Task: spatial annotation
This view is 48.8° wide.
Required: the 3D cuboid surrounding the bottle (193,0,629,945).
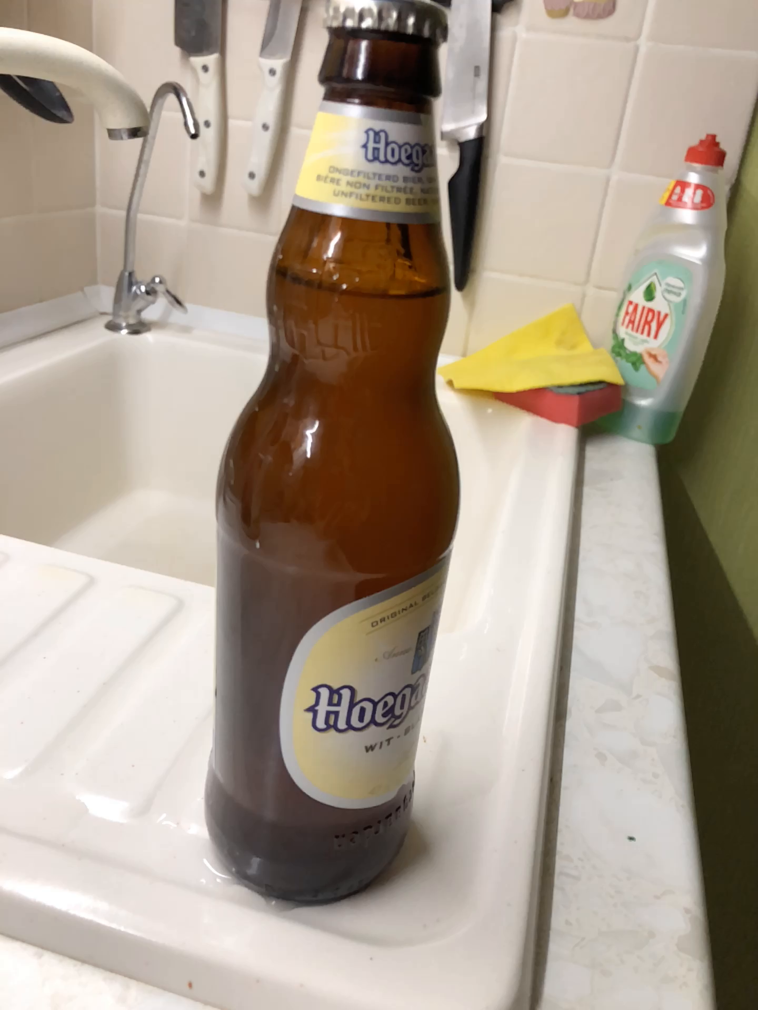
[{"bbox_3d":[0.000,-0.003,0.225,0.060,0.231,0.070,20,27,25],"label":"bottle"}]
